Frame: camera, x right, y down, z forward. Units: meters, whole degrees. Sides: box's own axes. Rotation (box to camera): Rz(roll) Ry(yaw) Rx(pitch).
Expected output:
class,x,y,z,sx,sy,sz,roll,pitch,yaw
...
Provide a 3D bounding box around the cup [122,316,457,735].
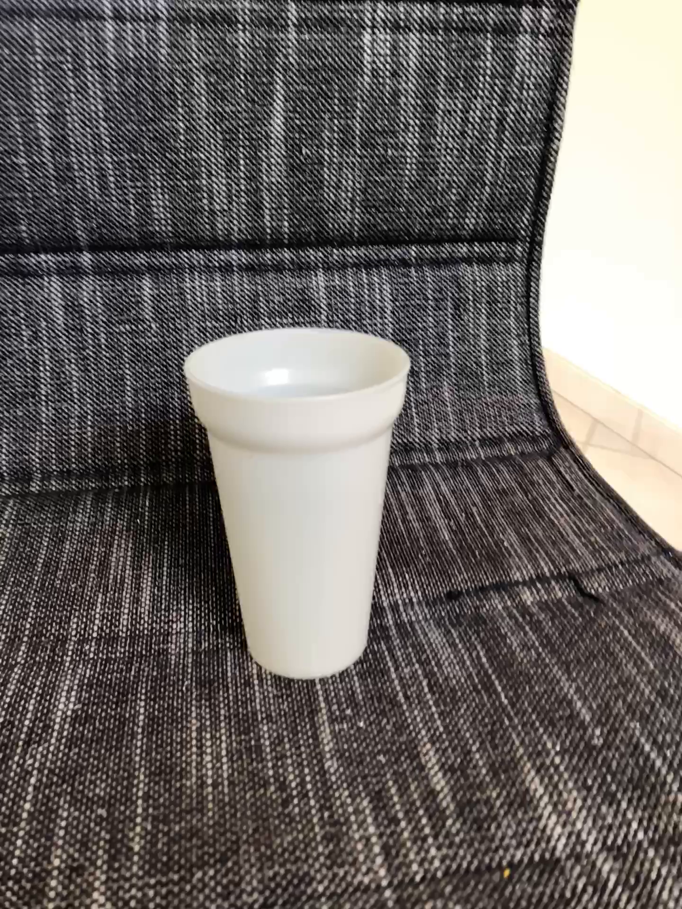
class,x,y,z,sx,sy,sz,roll,pitch,yaw
cup,-0.019,0.019,0.278,0.080,0.109,0.080,1,28,-1
